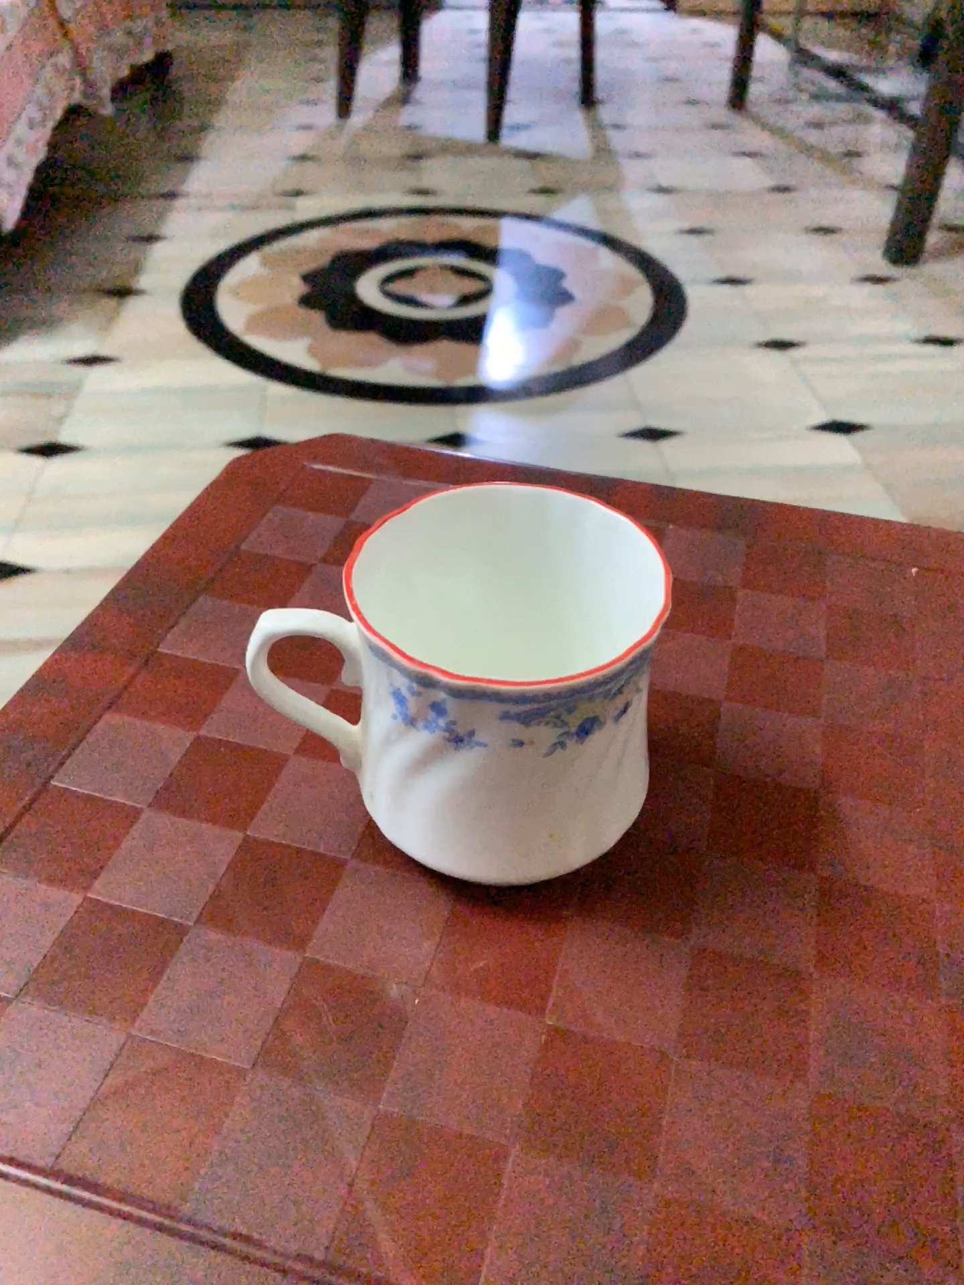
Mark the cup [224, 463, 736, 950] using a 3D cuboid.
[{"bbox_3d":[-0.003,0.014,0.228,0.090,0.080,0.070,-3,41,-4],"label":"cup"}]
